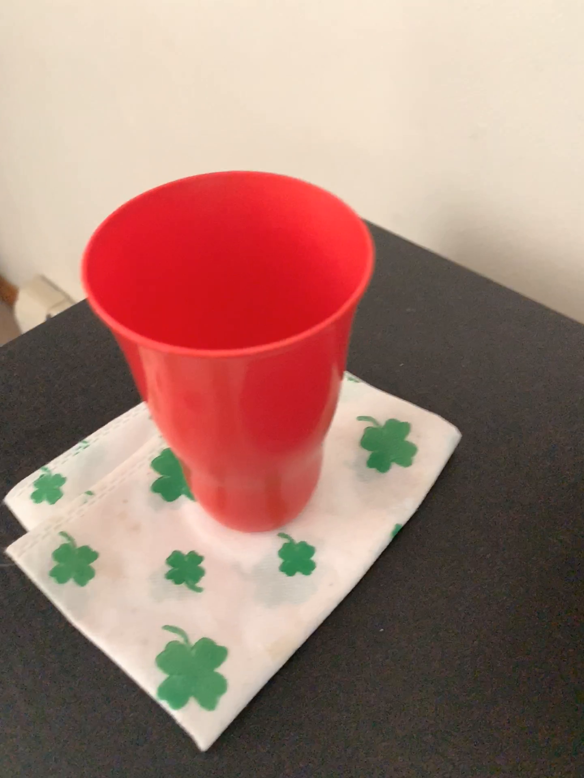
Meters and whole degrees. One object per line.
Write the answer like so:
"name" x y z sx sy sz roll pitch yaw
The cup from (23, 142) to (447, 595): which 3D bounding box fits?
"cup" -0.017 -0.007 0.192 0.082 0.091 0.080 0 49 0
